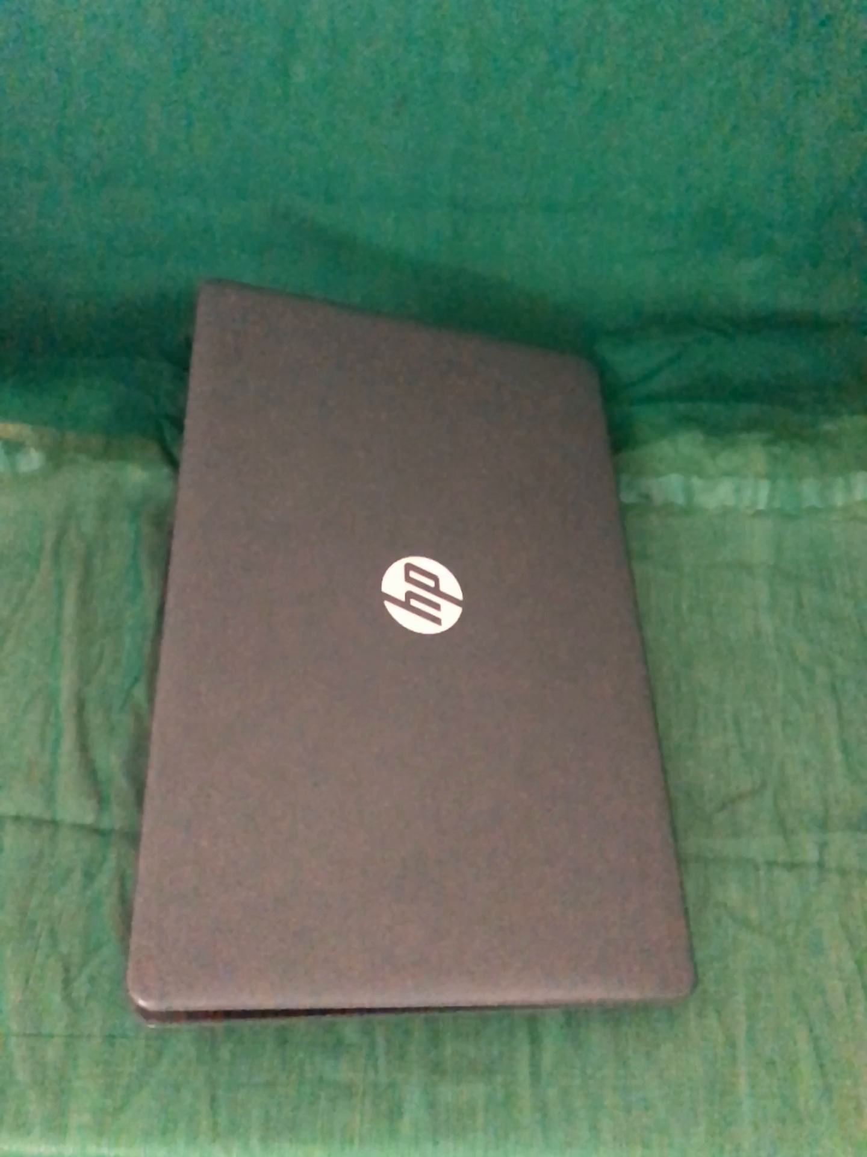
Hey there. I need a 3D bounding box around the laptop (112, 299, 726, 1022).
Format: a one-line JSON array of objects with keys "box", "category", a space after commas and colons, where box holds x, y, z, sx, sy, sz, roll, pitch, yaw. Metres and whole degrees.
[{"box": [-0.011, 0.018, 0.480, 0.231, 0.067, 0.361, 1, 60, -4], "category": "laptop"}]
